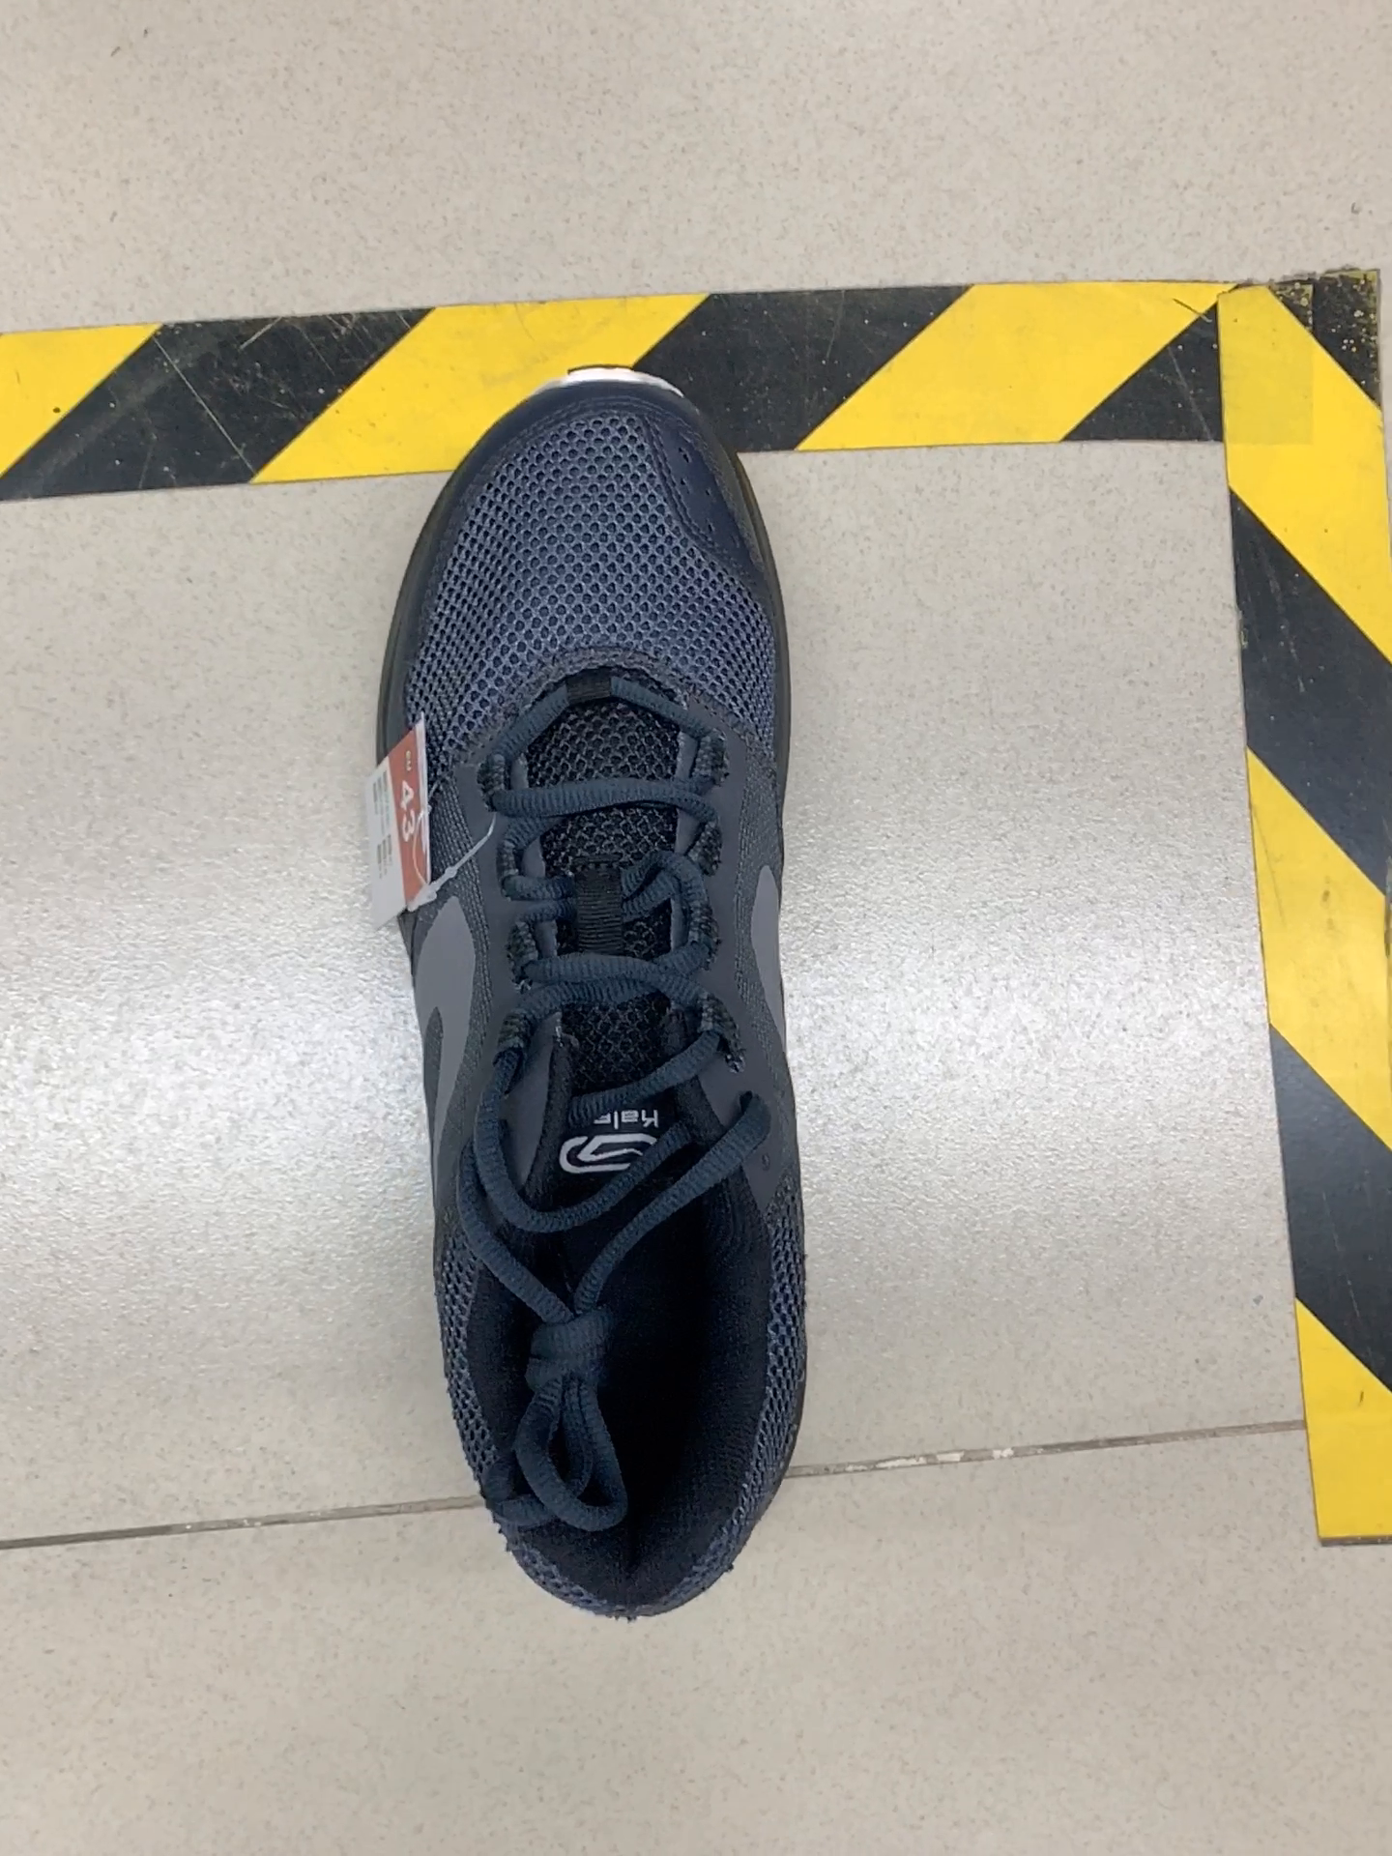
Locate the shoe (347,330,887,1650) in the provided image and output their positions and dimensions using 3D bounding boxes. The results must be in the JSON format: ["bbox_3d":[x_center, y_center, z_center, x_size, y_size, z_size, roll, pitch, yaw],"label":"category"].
[{"bbox_3d":[-0.020,0.010,0.343,0.110,0.070,0.280,-1,86,-3],"label":"shoe"}]
